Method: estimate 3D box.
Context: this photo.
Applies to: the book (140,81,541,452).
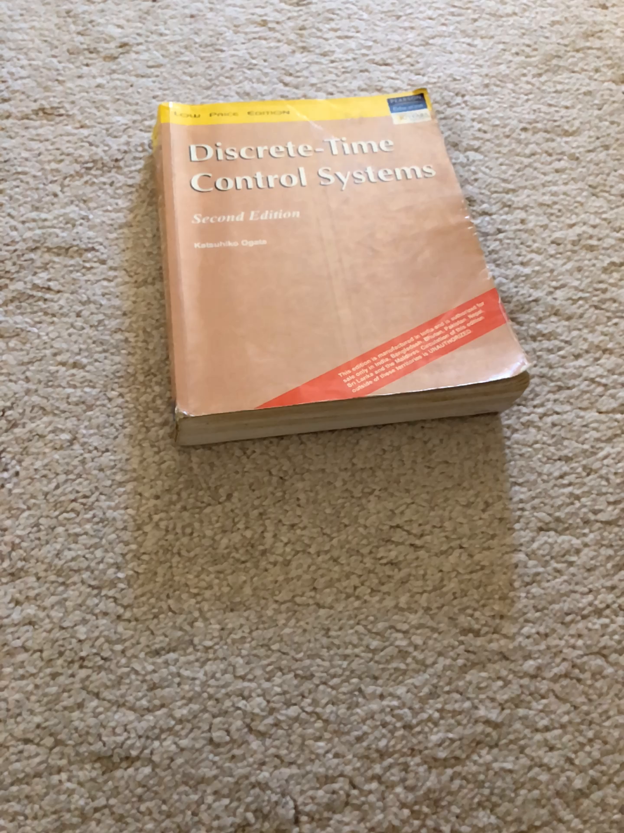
[{"bbox_3d":[0.002,-0.103,0.404,0.186,0.035,0.239,-6,60,-9],"label":"book"}]
